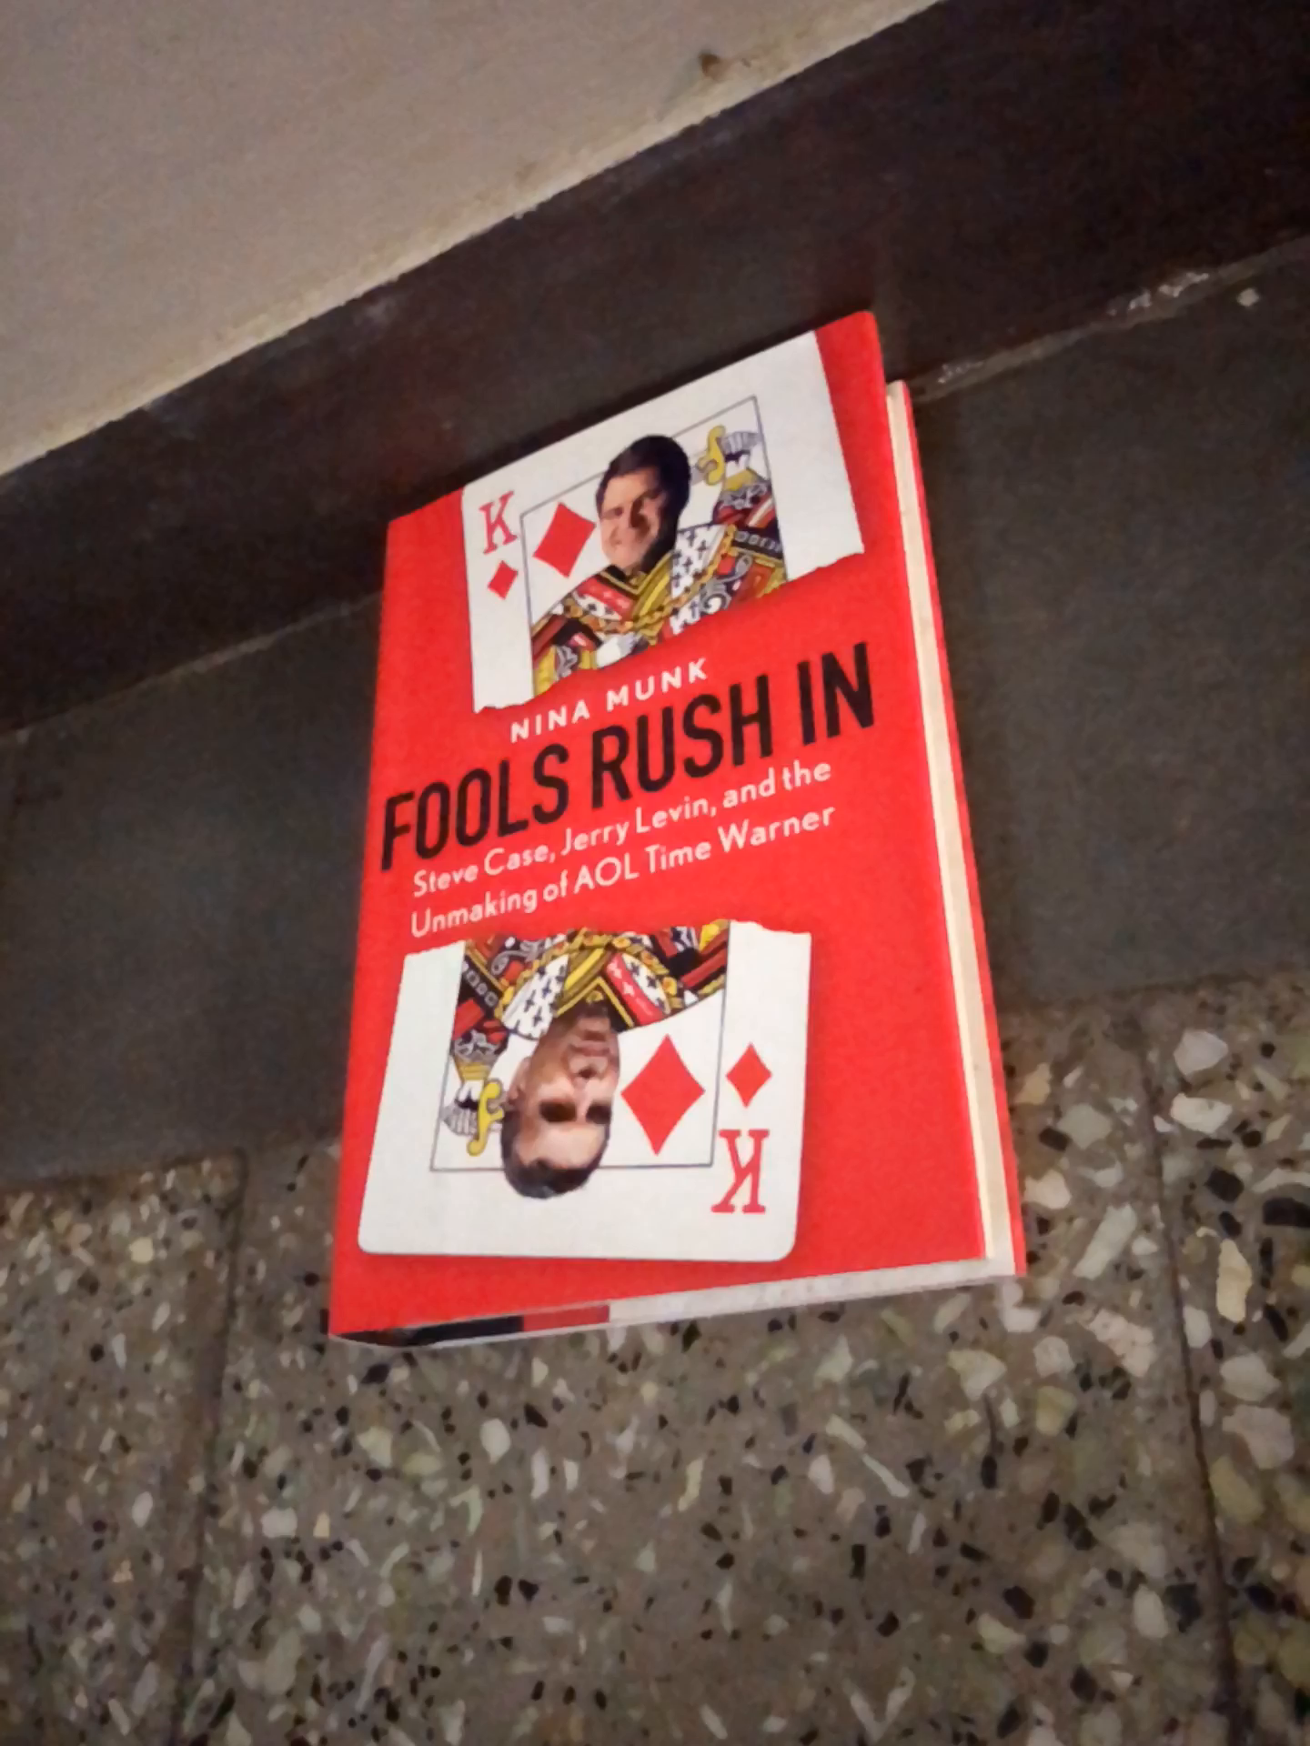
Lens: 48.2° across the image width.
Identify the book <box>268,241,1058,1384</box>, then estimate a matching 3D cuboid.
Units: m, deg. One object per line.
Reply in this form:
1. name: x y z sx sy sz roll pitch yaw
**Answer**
1. book: -0.010 -0.020 0.379 0.180 0.030 0.270 -16 60 26
